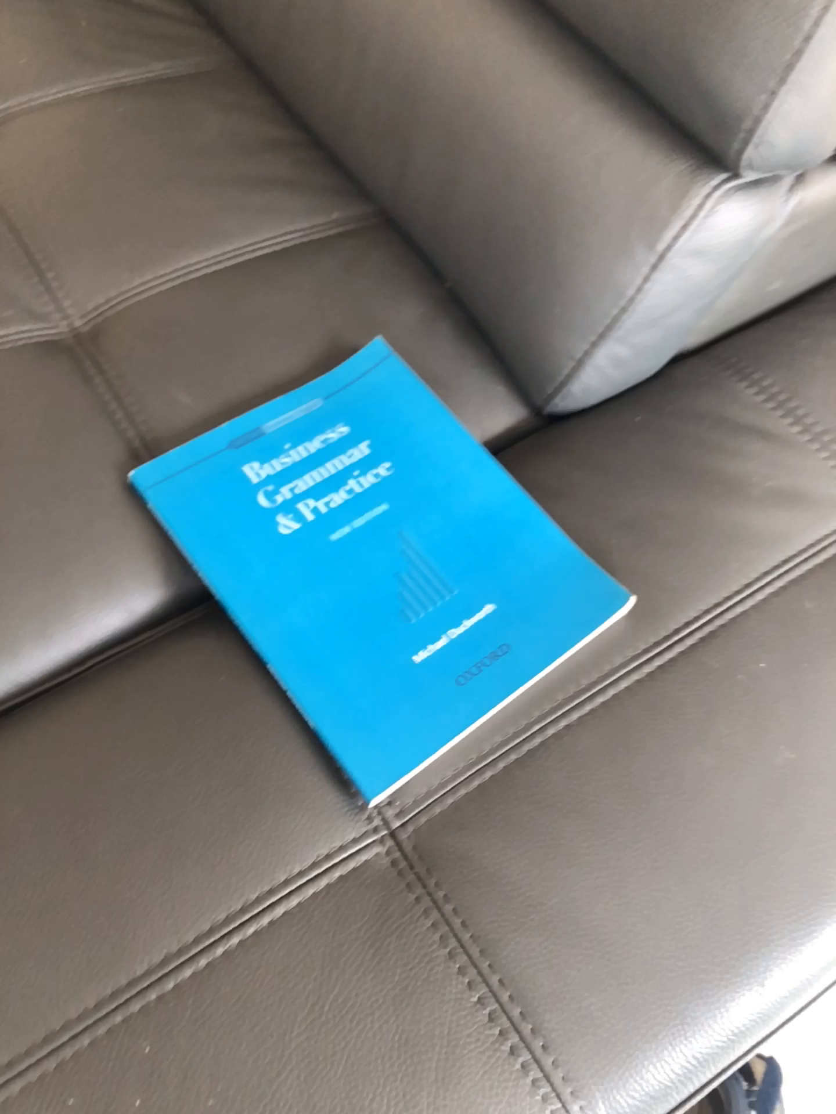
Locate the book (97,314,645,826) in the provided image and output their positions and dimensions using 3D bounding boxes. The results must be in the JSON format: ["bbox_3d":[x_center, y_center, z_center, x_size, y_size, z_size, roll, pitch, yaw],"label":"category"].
[{"bbox_3d":[-0.033,-0.012,0.603,0.231,0.020,0.280,-34,70,-19],"label":"book"}]
